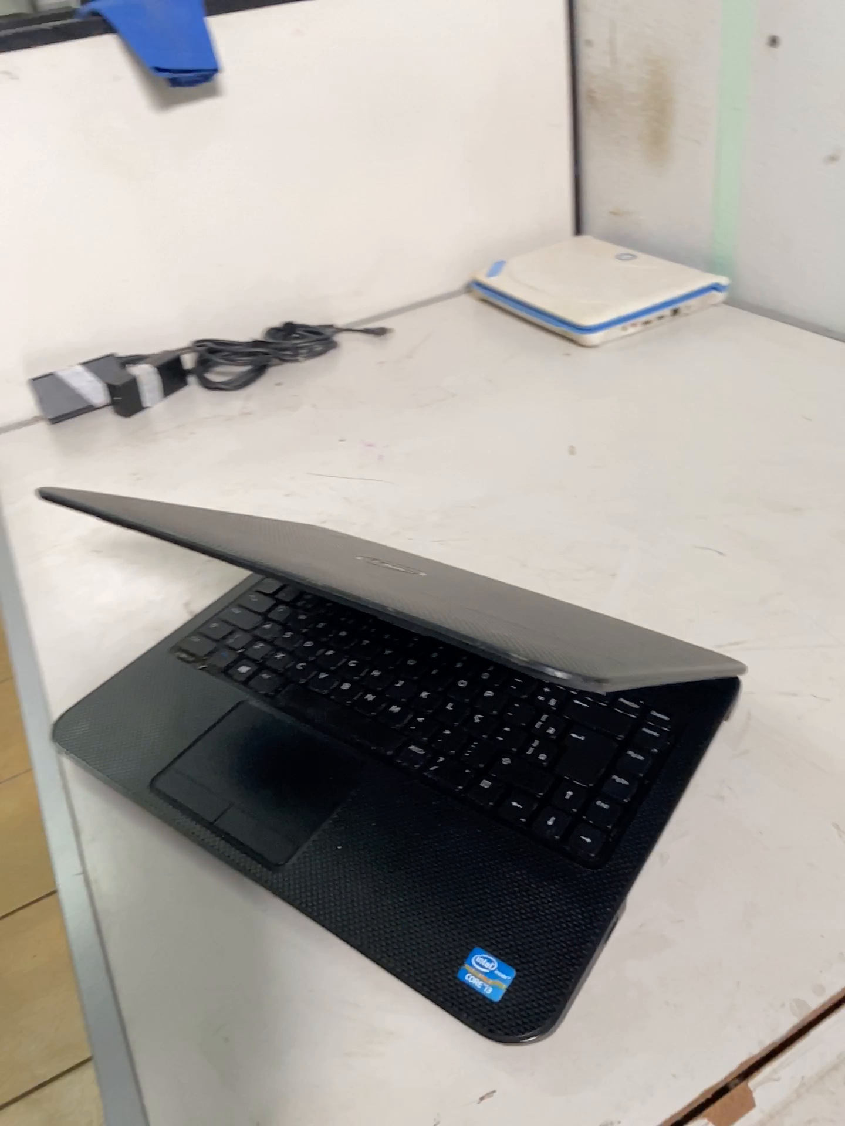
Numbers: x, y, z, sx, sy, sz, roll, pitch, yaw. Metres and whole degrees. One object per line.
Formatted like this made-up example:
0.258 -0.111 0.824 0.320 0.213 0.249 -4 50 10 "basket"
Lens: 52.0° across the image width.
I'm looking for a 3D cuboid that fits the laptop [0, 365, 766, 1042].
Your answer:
-0.031 0.027 0.460 0.331 0.141 0.231 18 43 33 "laptop"
